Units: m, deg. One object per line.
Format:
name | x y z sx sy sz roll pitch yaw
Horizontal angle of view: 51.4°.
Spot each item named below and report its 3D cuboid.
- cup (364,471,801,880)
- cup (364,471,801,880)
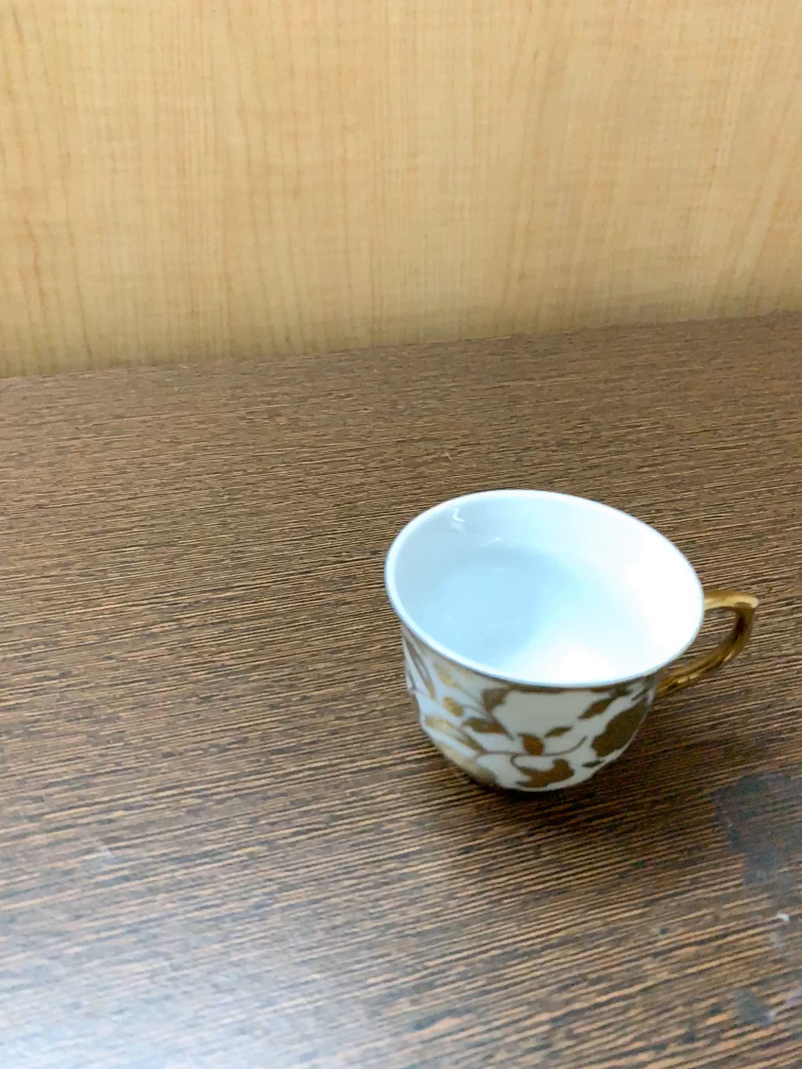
cup | 0.037 0.027 0.192 0.080 0.050 0.071 -4 35 -10
cup | 0.037 0.027 0.192 0.080 0.050 0.071 -4 35 -10
